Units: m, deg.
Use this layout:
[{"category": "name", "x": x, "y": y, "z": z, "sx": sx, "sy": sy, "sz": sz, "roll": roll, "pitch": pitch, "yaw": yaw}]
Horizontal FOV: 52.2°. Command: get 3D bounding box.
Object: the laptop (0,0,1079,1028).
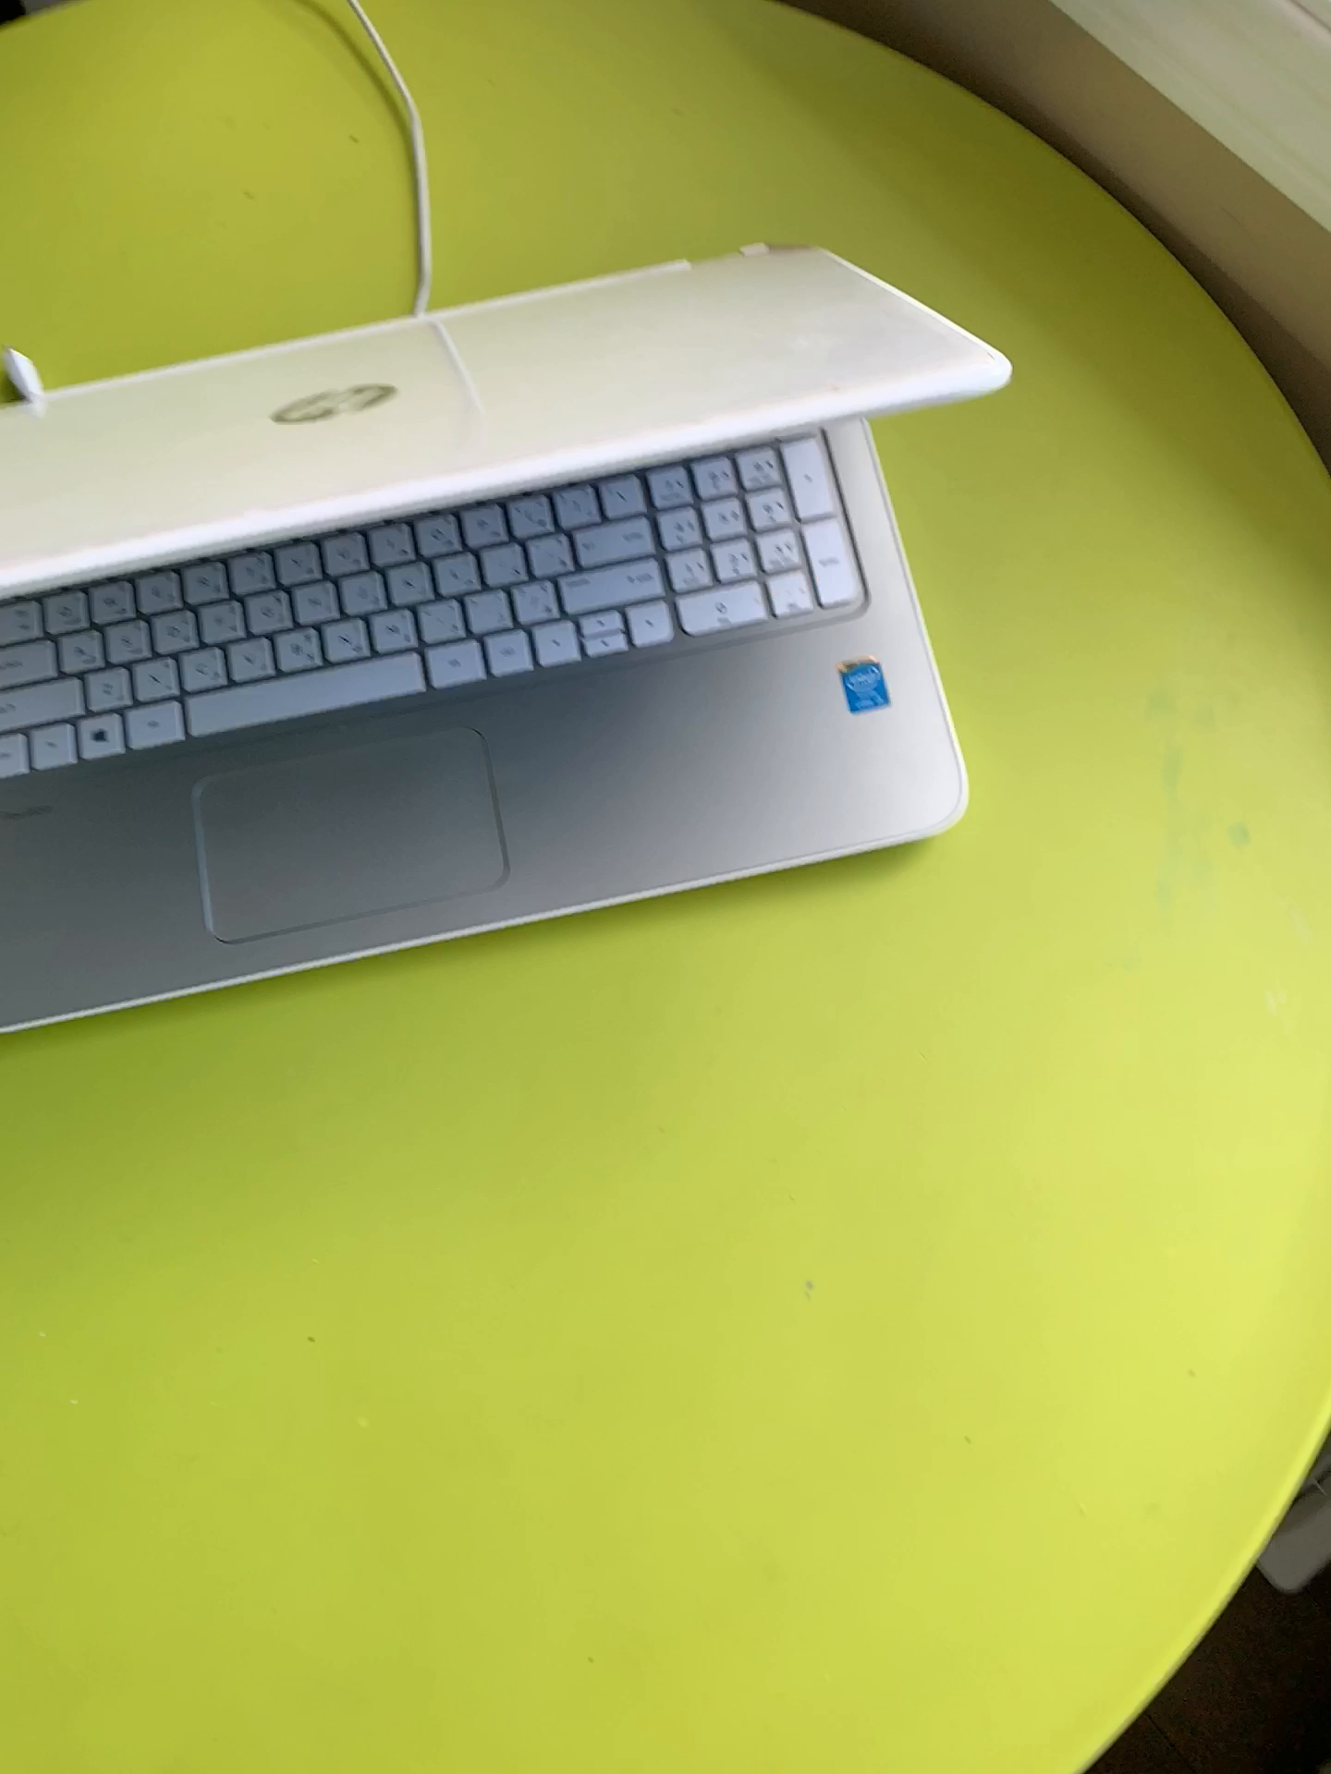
[{"category": "laptop", "x": -0.099, "y": -0.125, "z": 0.440, "sx": 0.367, "sy": 0.163, "sz": 0.243, "roll": -12, "pitch": 73, "yaw": -2}]
